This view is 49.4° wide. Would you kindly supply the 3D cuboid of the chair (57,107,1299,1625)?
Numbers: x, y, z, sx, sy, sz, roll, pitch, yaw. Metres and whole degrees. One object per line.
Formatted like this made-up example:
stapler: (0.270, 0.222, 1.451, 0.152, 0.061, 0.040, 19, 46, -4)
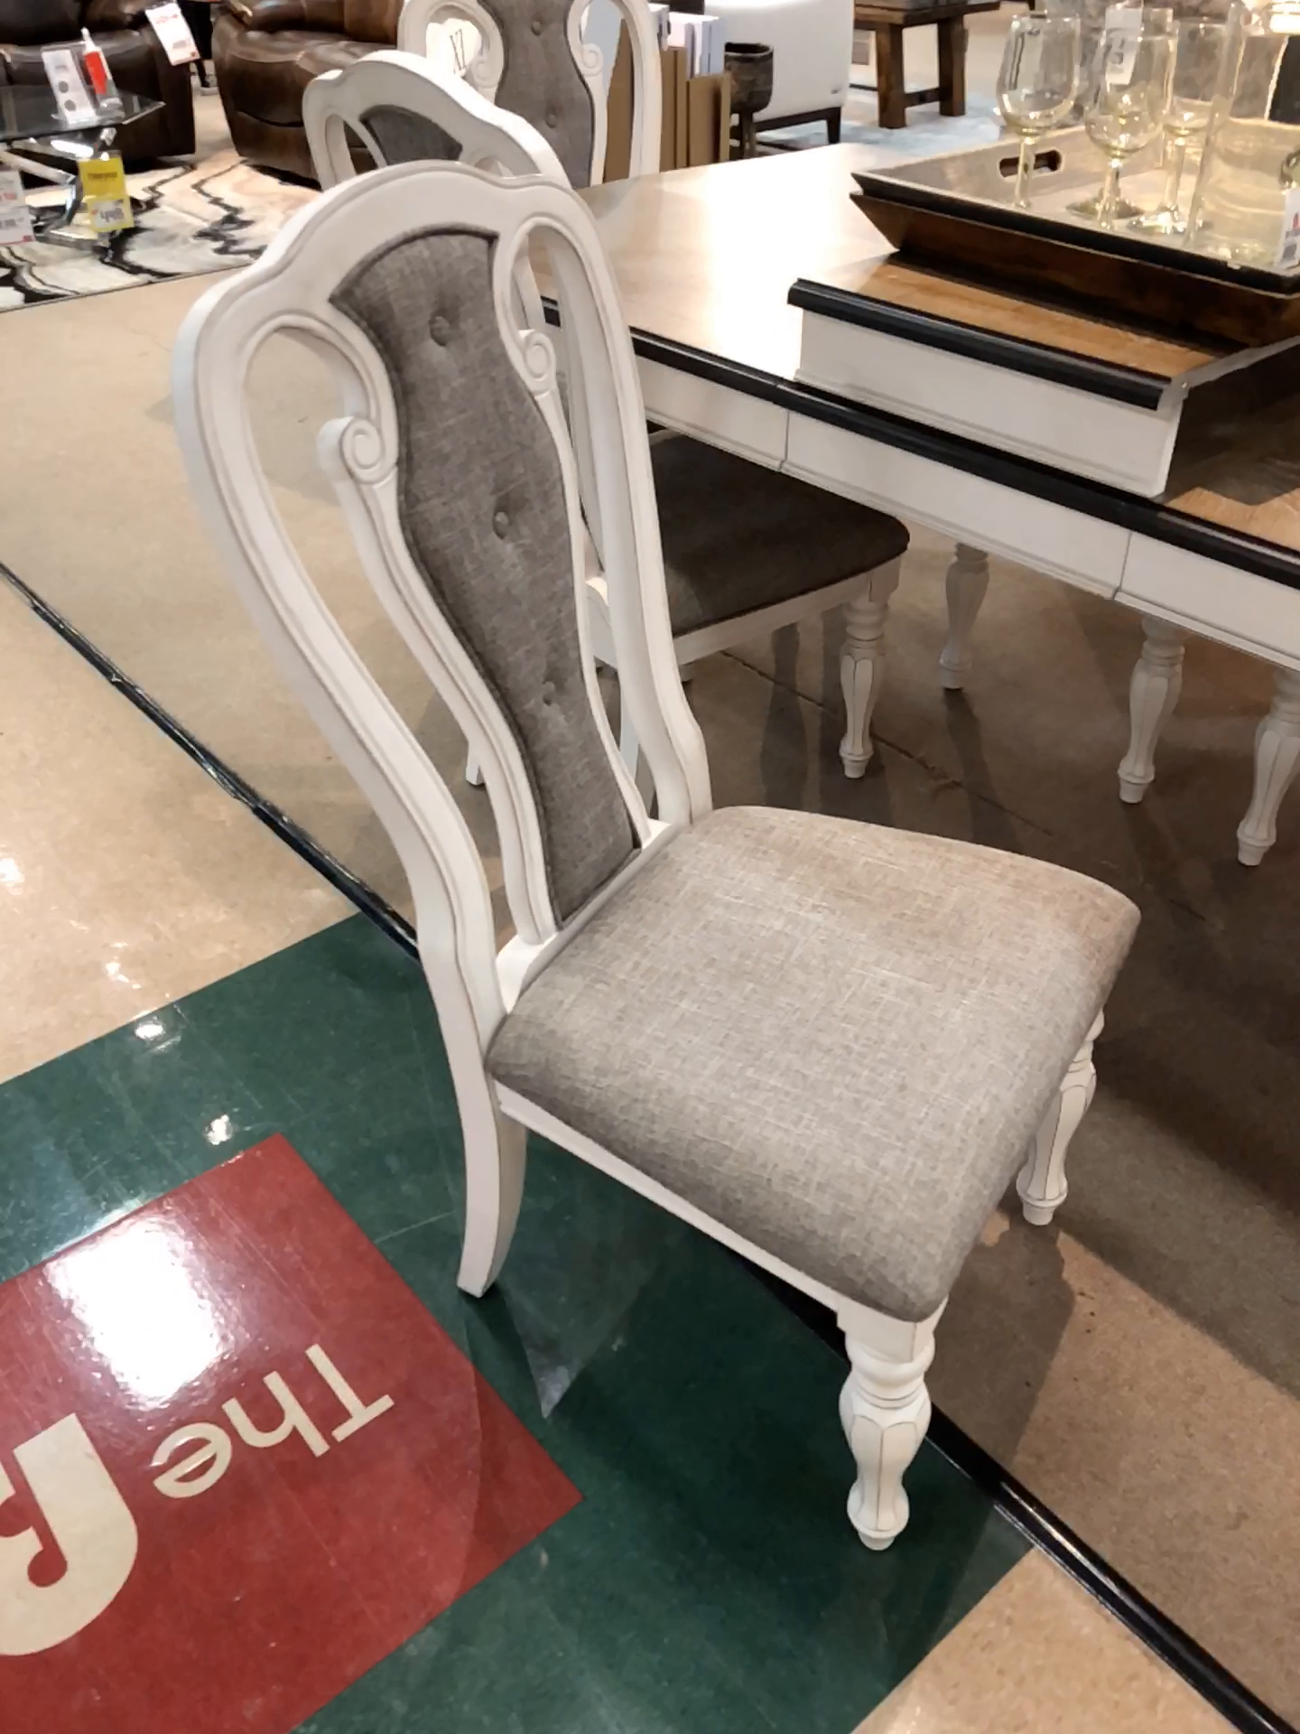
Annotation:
chair: (0.072, -0.019, 1.216, 0.672, 1.012, 0.553, 20, 42, 26)
